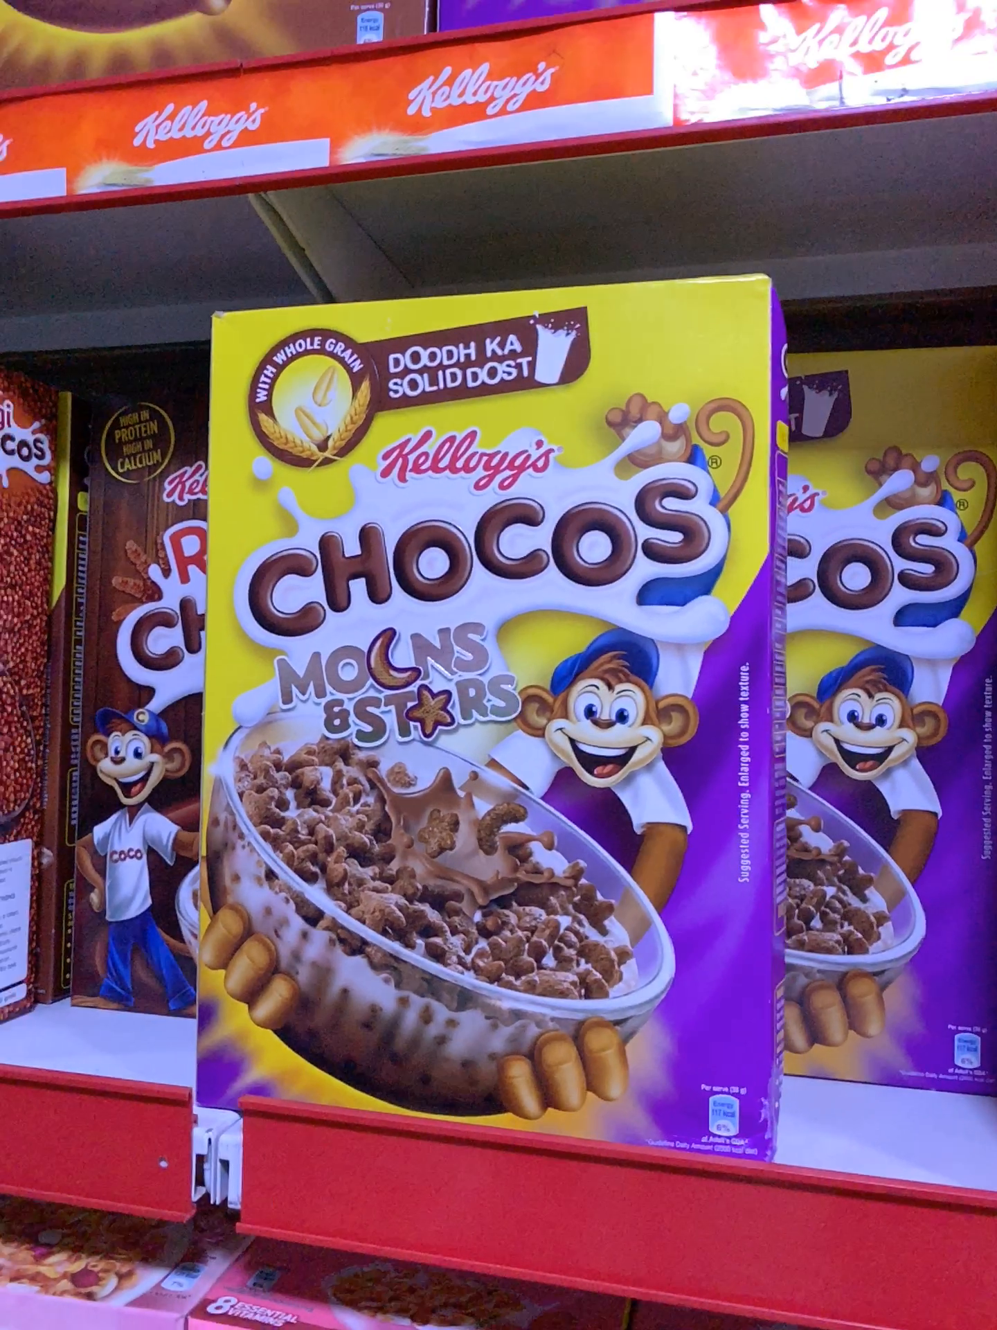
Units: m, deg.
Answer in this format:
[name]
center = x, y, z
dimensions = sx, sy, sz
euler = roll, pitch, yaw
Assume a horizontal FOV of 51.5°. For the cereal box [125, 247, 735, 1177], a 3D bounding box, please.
[cereal box]
center = -0.018, 0.010, 0.328
dimensions = 0.180, 0.250, 0.060
euler = 0, -1, 13
